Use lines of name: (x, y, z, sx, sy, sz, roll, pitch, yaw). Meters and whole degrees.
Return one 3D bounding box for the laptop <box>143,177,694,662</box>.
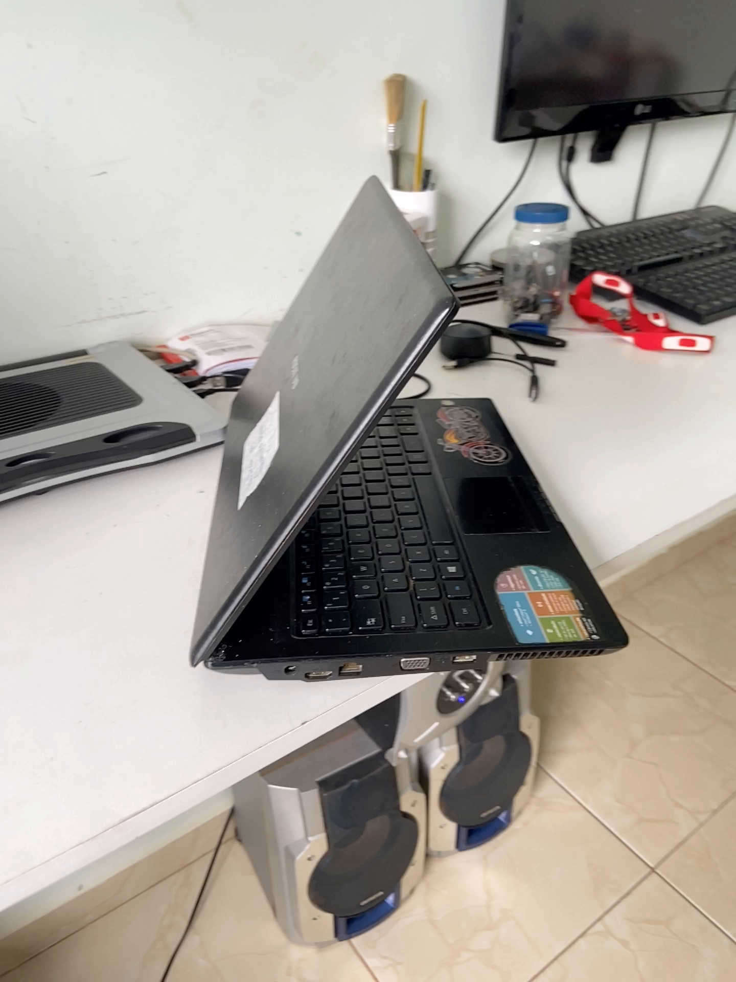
laptop: (0.011, -0.081, 0.505, 0.233, 0.189, 0.332, -3, 31, -5)
